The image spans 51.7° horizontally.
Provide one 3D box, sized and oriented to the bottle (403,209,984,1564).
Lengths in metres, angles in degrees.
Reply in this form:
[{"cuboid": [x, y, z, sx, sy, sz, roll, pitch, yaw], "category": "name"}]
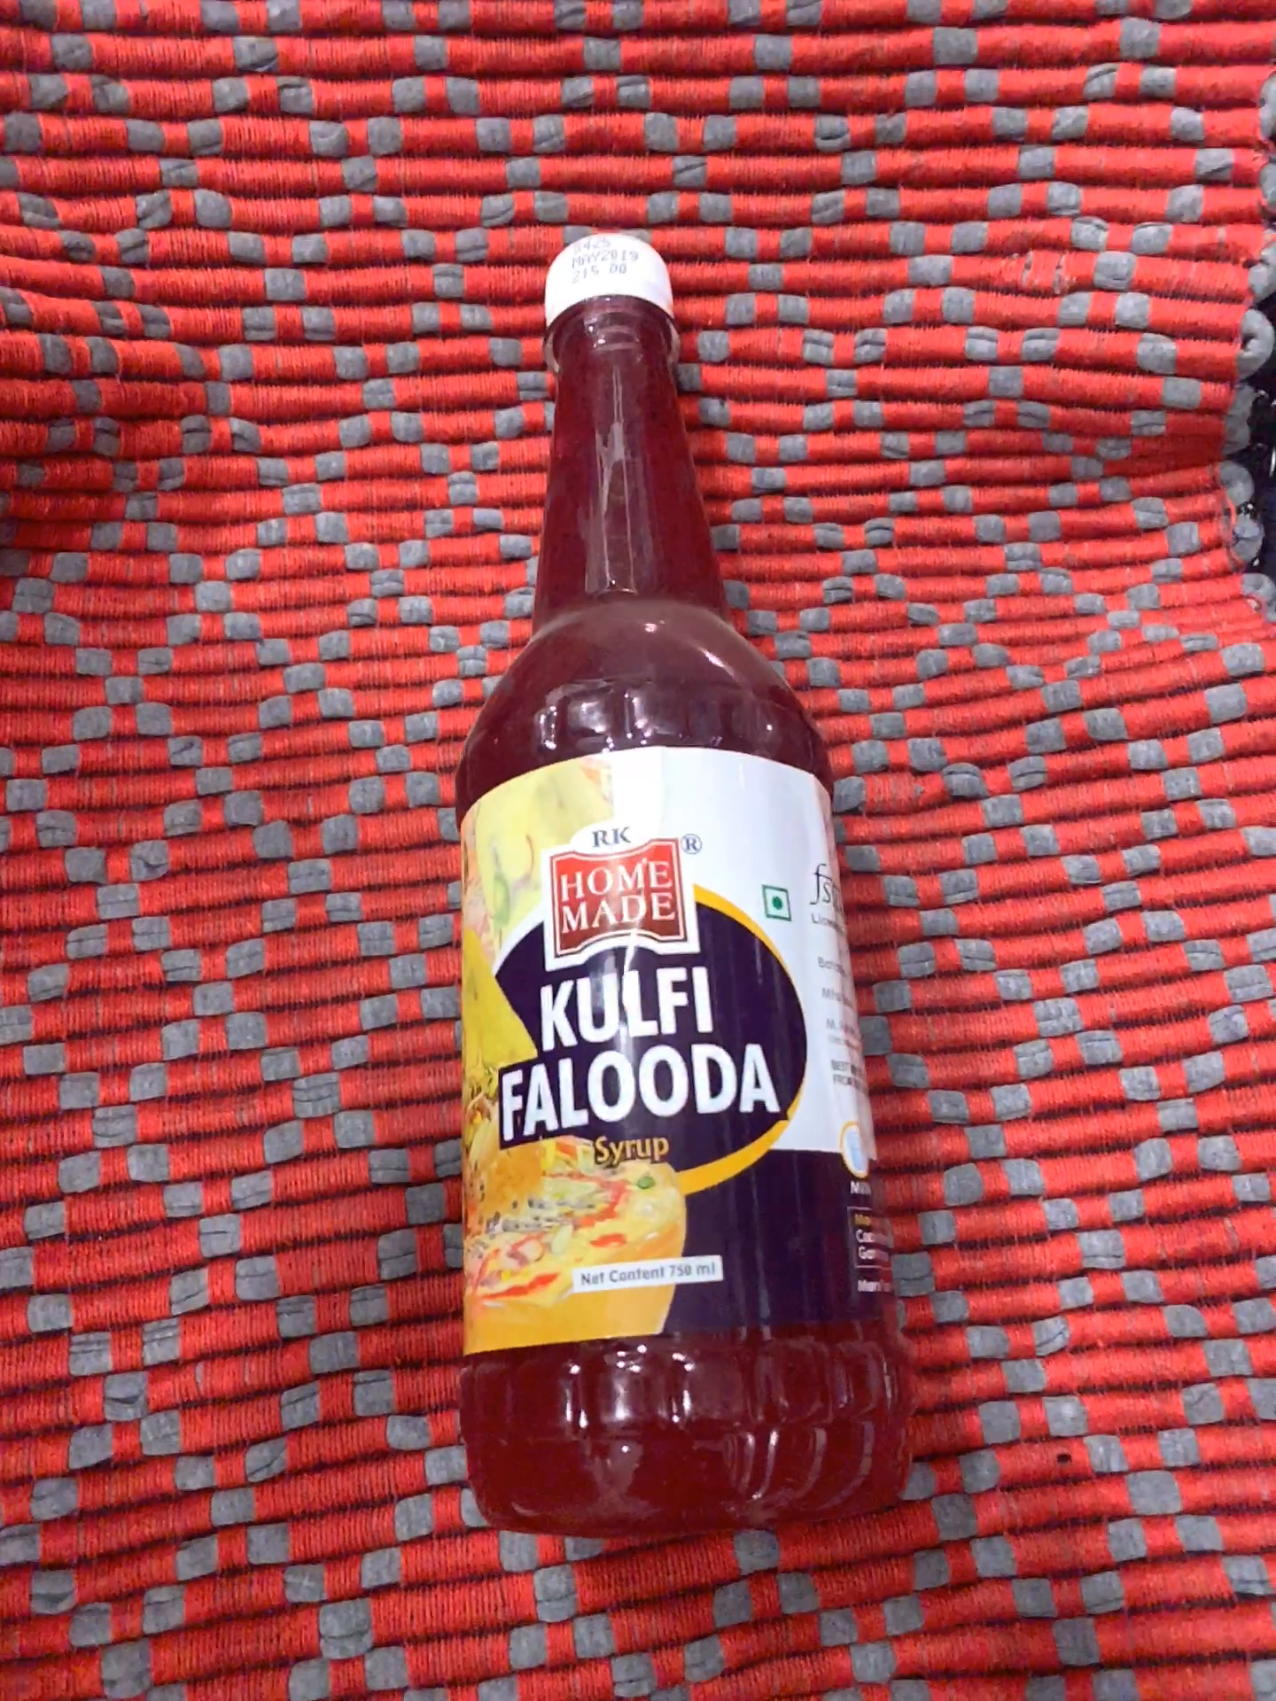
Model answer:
[{"cuboid": [-0.001, -0.010, 0.250, 0.070, 0.070, 0.250, -3, 61, -3], "category": "bottle"}]
